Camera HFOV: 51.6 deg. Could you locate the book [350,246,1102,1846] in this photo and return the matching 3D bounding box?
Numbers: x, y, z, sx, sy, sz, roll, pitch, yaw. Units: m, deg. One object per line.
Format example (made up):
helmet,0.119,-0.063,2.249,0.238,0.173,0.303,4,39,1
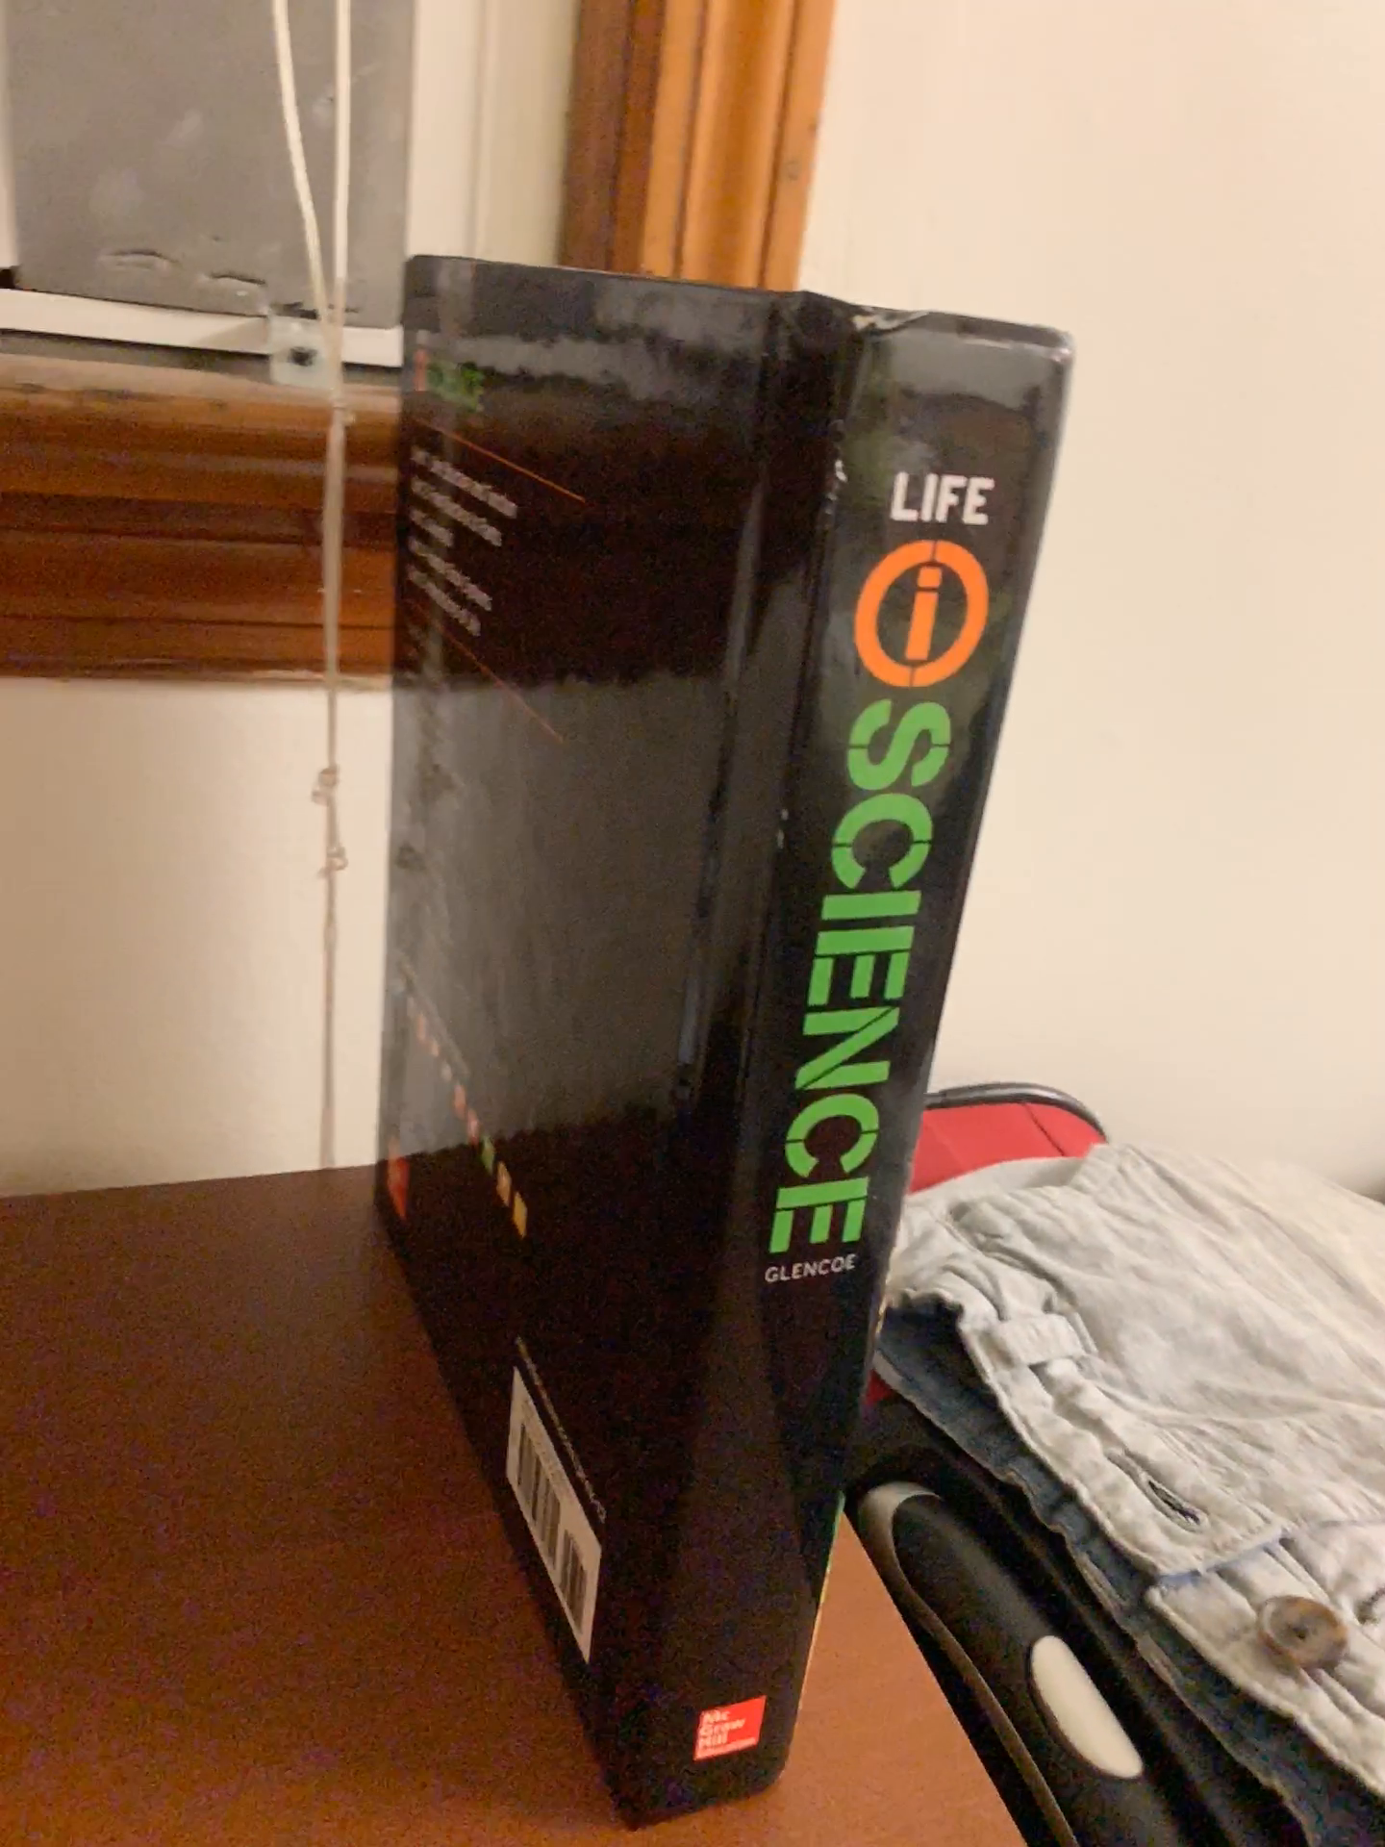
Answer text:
book,-0.028,0.005,0.330,0.051,0.286,0.227,-3,24,-24
